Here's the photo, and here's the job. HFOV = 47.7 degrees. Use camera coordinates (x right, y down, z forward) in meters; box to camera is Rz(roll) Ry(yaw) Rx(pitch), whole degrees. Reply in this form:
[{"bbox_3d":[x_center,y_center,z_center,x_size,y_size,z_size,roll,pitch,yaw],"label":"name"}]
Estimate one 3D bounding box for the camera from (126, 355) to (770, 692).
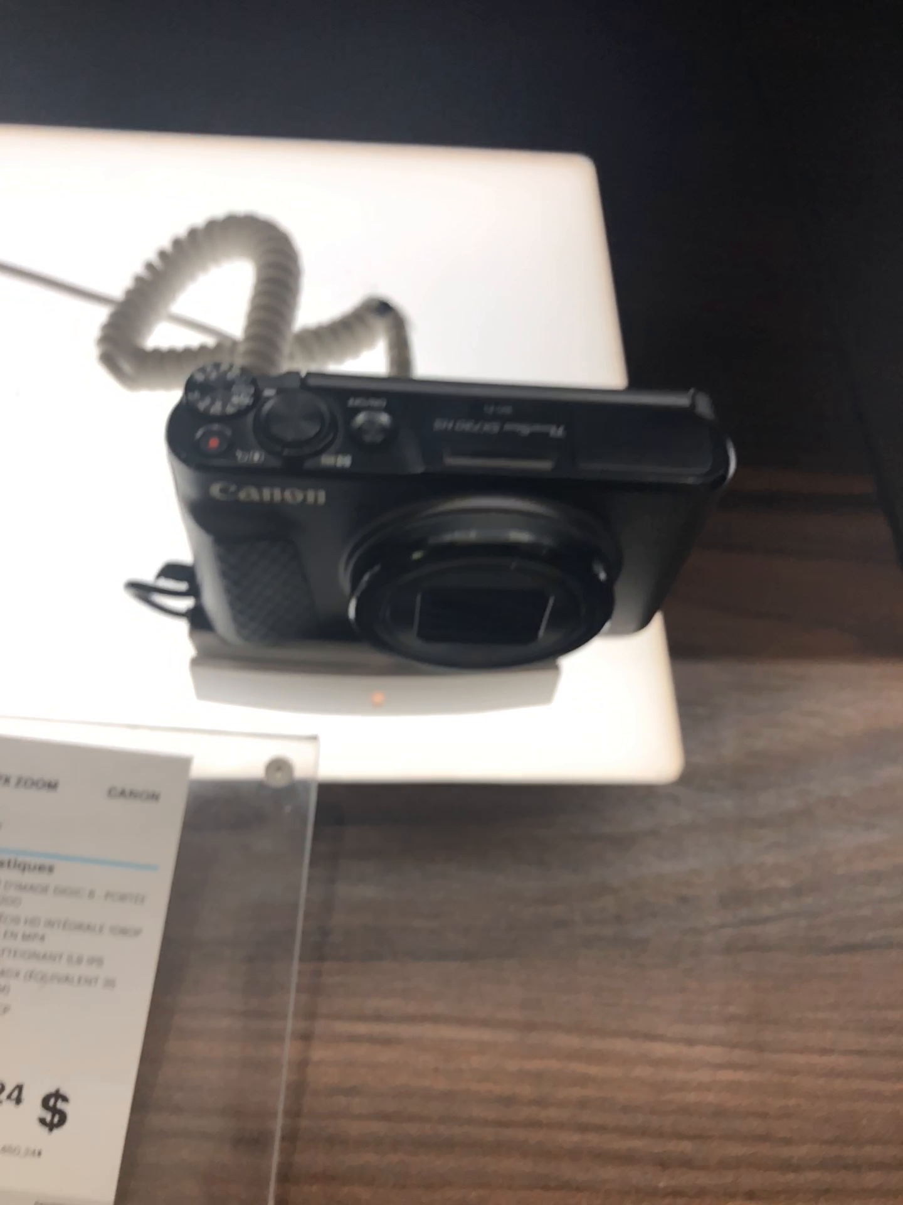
[{"bbox_3d":[-0.002,-0.013,0.220,0.114,0.070,0.034,2,59,-4],"label":"camera"}]
